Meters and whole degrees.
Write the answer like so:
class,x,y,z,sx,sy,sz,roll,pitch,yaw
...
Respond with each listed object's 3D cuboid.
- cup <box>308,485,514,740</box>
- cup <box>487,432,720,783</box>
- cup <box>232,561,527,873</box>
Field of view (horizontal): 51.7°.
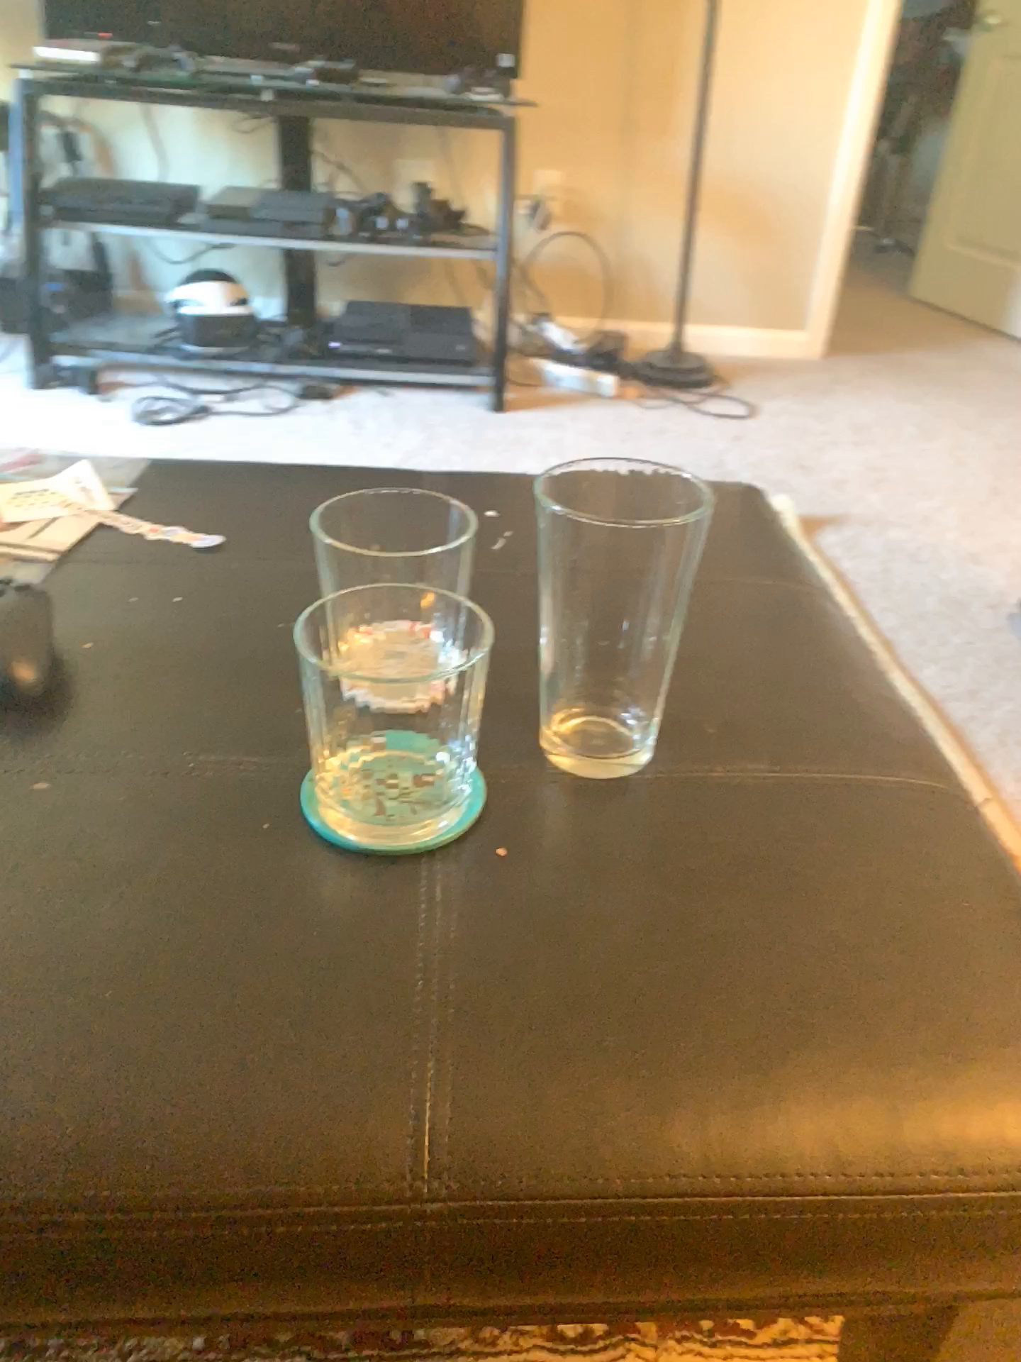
class,x,y,z,sx,sy,sz,roll,pitch,yaw
cup,-0.058,-0.042,0.625,0.090,0.109,0.080,15,34,17
cup,0.046,-0.039,0.538,0.080,0.139,0.090,15,34,17
cup,-0.058,0.013,0.493,0.100,0.089,0.090,15,34,17
